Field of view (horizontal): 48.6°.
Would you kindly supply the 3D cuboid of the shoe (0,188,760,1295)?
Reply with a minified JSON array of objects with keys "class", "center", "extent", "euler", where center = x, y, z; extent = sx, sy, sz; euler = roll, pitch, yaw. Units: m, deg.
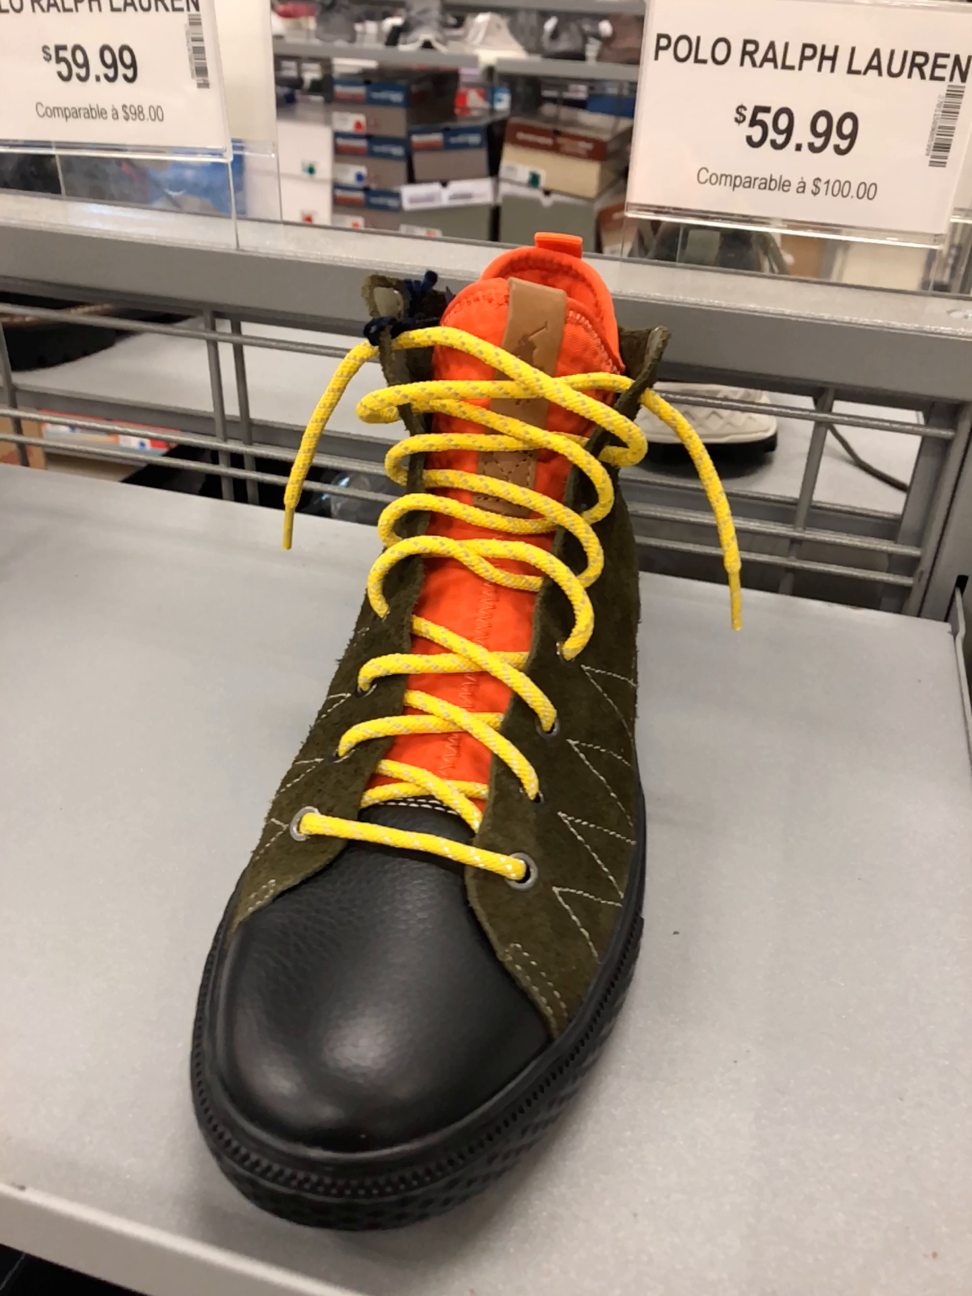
[{"class":"shoe","center":[0.003,-0.016,0.324],"extent":[0.125,0.171,0.300],"euler":[9,33,9]}]
